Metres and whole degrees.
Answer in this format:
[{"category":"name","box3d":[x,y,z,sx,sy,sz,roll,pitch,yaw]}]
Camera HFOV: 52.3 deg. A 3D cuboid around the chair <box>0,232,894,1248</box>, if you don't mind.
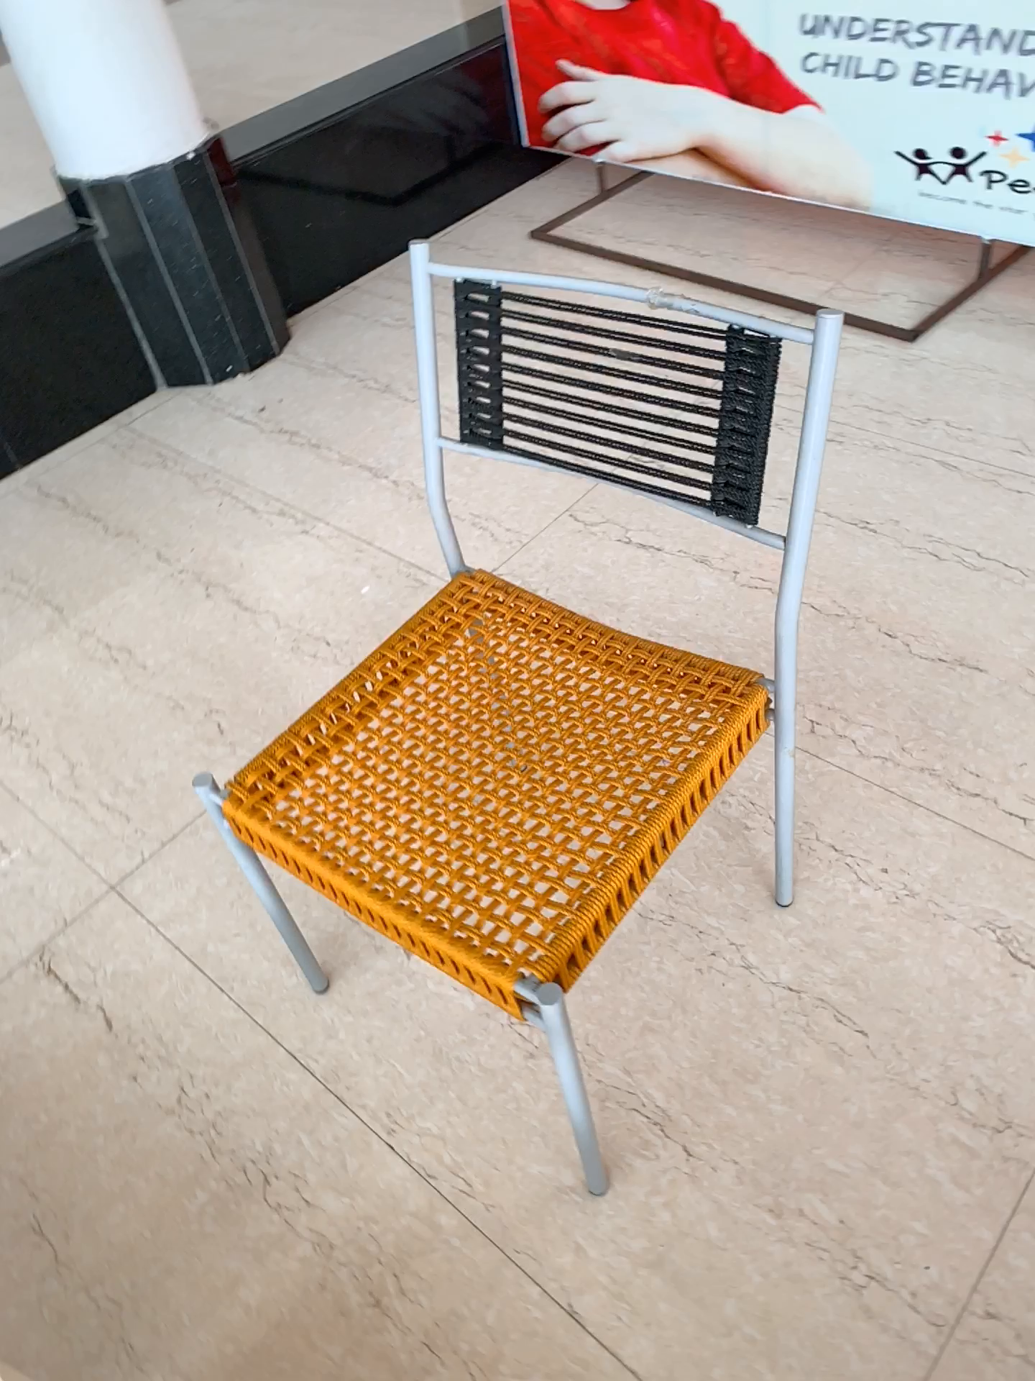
[{"category":"chair","box3d":[-0.020,0.045,1.076,0.532,0.744,0.522,25,55,32]}]
